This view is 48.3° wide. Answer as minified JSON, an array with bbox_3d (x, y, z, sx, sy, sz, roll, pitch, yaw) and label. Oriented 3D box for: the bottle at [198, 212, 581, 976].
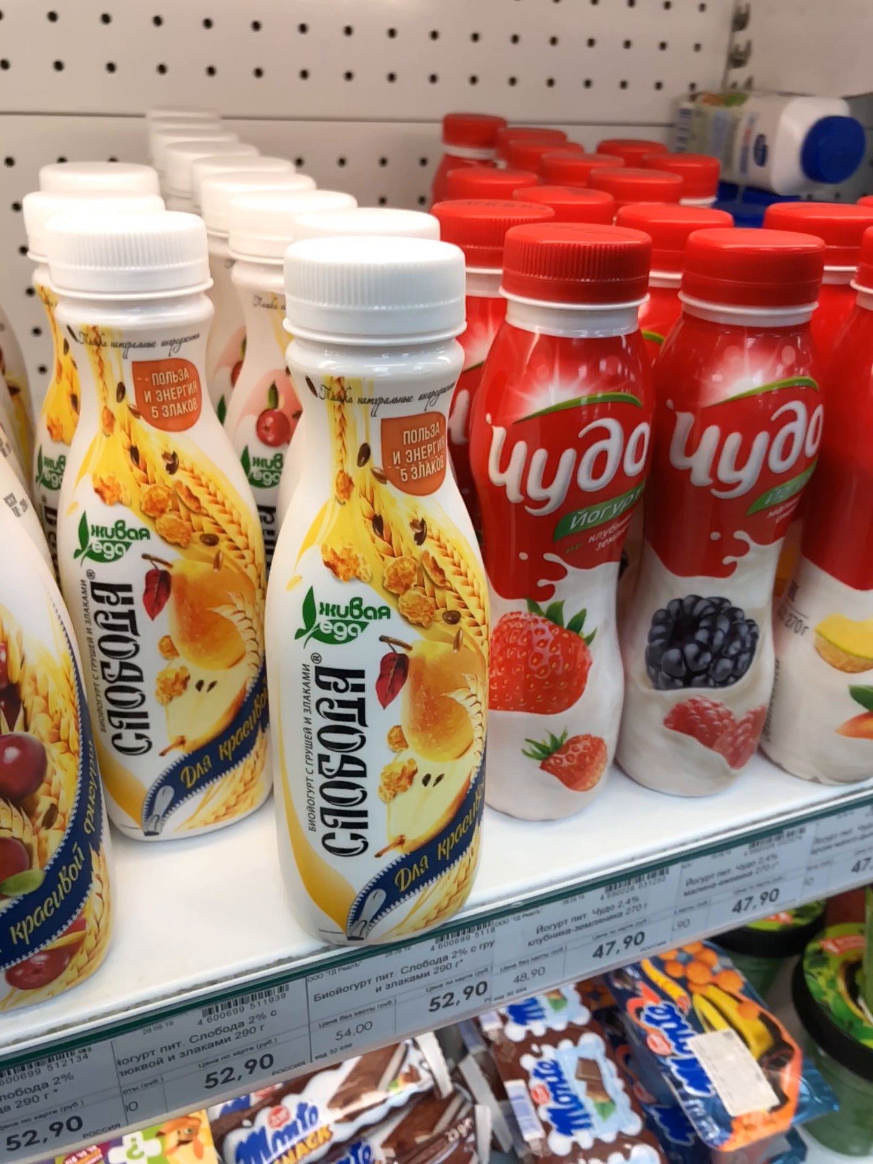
[{"bbox_3d":[-0.016,0.007,0.259,0.070,0.189,0.060,-8,30,-18],"label":"bottle"}]
